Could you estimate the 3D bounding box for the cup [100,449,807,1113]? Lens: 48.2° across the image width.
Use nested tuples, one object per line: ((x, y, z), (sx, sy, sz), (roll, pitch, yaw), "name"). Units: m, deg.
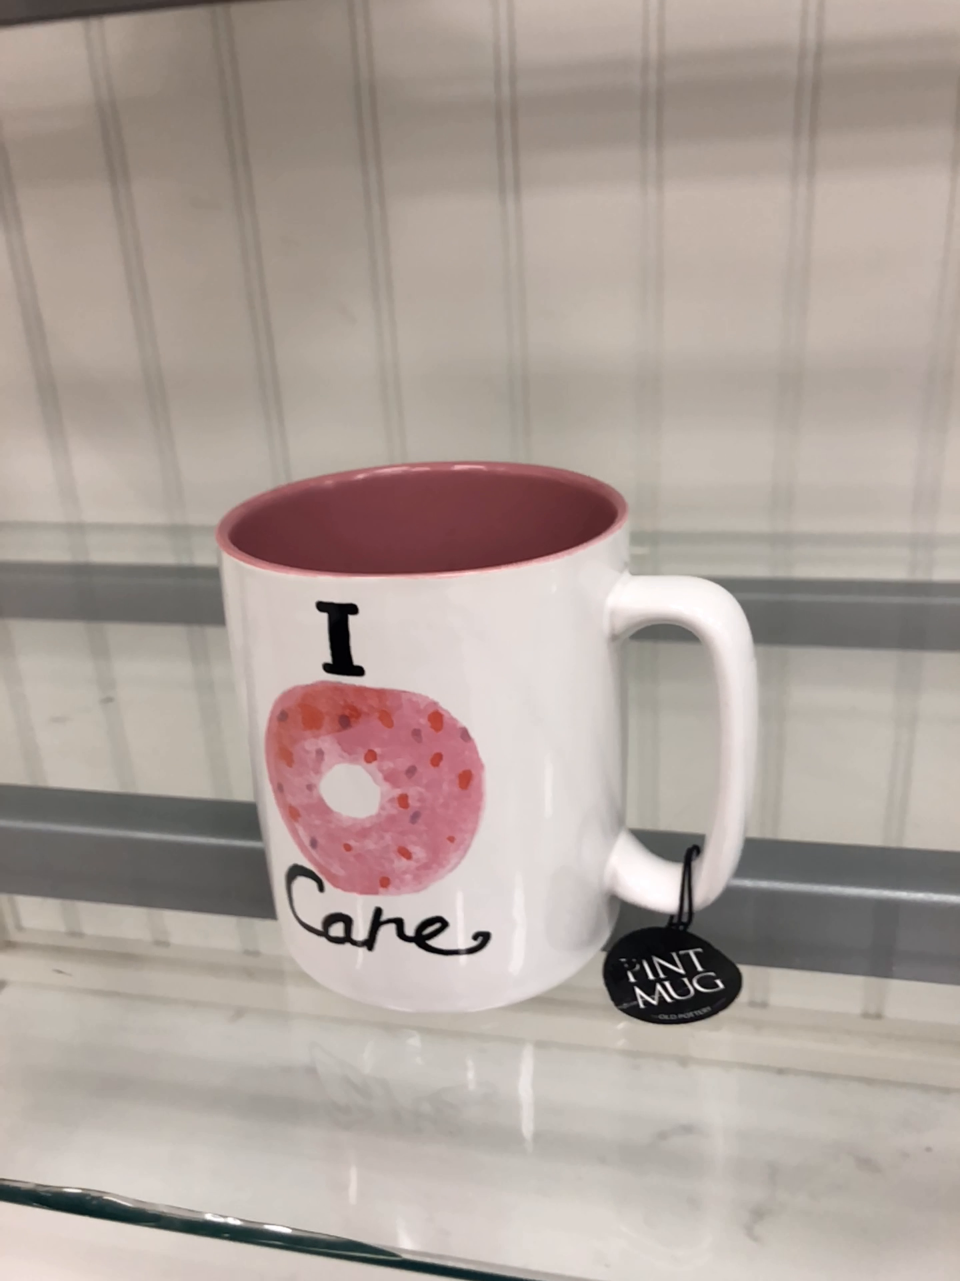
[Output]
((0.003, 0.021, 0.271), (0.137, 0.112, 0.101), (6, 24, 21), "cup")
